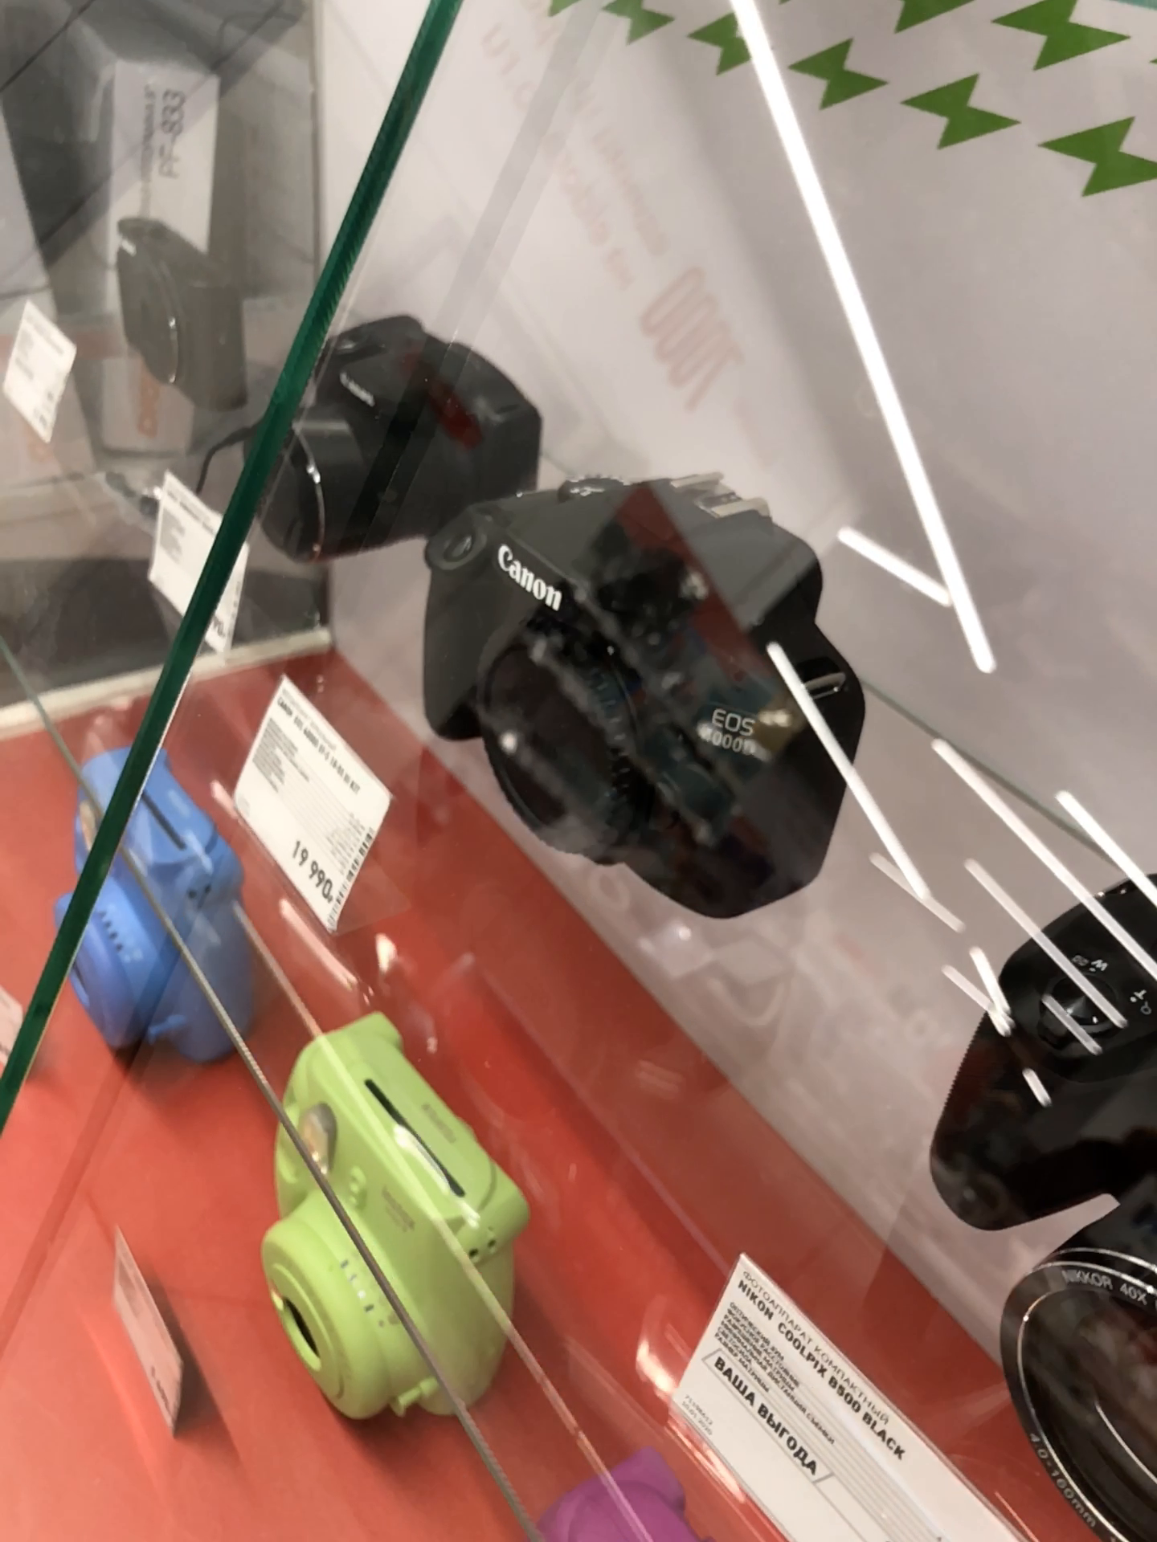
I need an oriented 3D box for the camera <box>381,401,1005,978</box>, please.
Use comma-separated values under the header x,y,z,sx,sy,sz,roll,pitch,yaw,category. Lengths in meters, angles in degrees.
x,y,z,sx,sy,sz,roll,pitch,yaw,category
0.023,-0.032,0.363,0.100,0.083,0.136,-21,45,-32,camera
